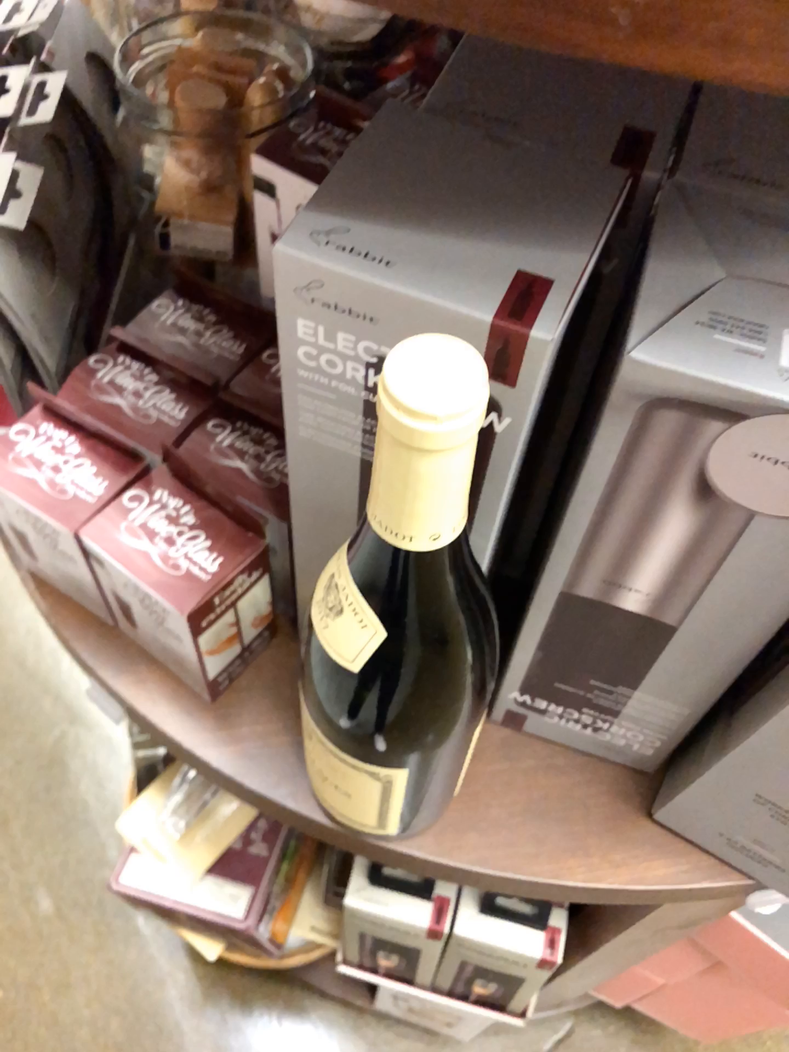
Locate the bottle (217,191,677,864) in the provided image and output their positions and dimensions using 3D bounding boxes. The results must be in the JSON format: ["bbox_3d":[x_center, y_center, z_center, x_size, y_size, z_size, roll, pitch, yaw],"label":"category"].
[{"bbox_3d":[0.004,0.035,0.342,0.090,0.299,0.090,1,55,-2],"label":"bottle"}]
